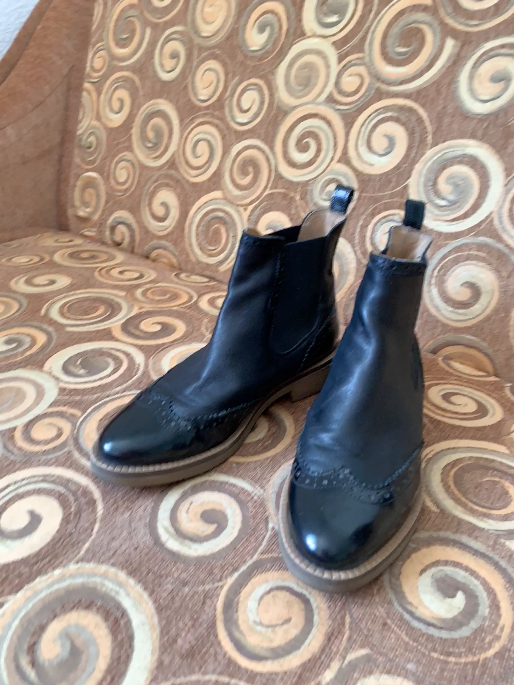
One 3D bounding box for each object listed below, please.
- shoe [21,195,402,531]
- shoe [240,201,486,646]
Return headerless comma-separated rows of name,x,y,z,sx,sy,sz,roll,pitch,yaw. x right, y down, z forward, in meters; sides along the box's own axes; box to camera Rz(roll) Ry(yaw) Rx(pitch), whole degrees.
shoe,-0.018,-0.006,0.385,0.240,0.139,0.100,-24,39,-35
shoe,0.088,0.016,0.367,0.100,0.139,0.291,11,33,17
